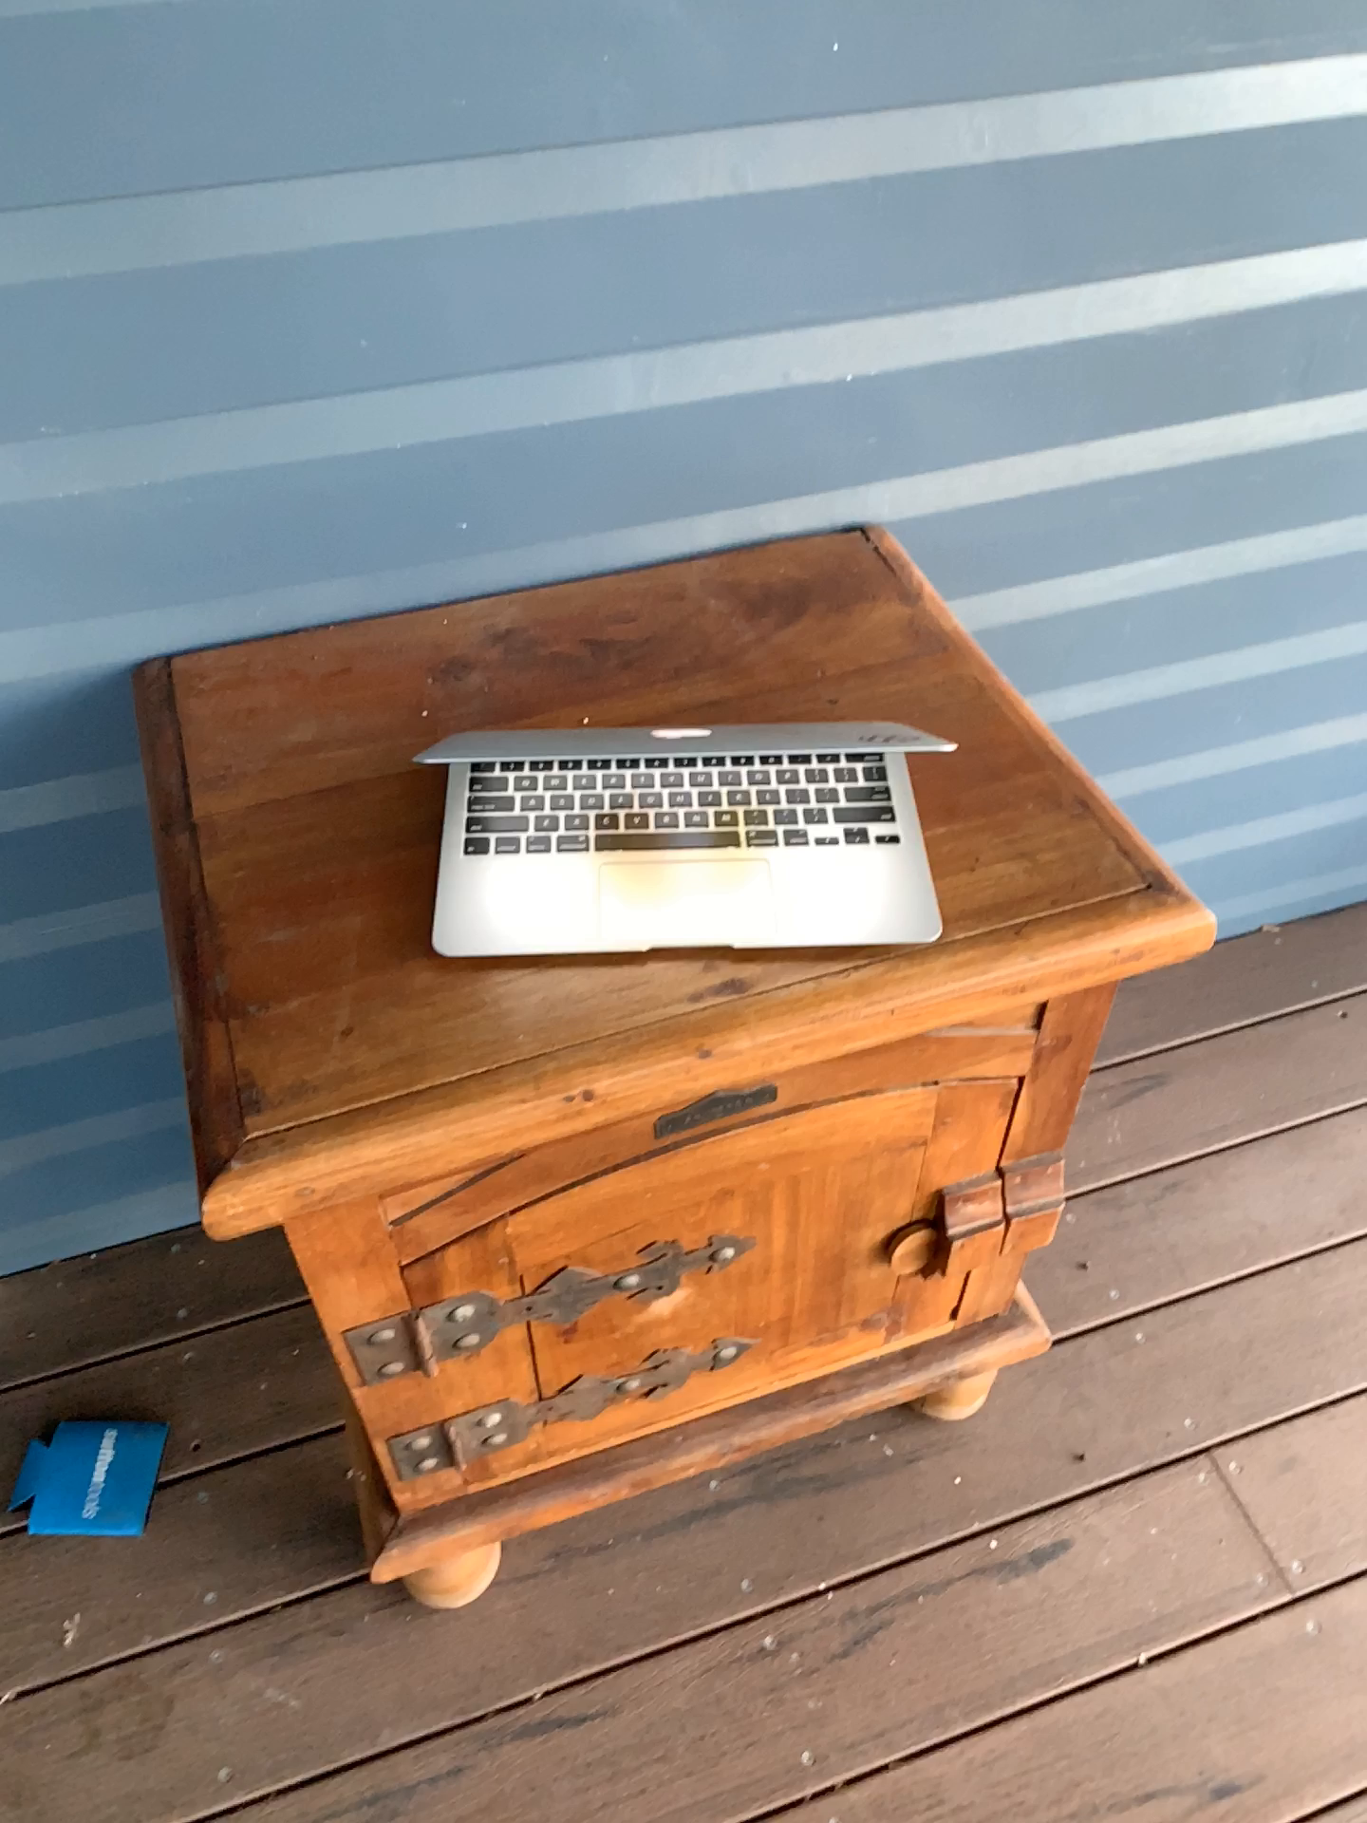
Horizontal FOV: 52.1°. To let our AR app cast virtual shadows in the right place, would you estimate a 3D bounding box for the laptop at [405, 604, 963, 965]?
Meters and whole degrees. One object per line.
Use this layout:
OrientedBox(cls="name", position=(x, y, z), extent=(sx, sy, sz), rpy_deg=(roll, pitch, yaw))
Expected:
OrientedBox(cls="laptop", position=(-0.002, -0.077, 0.802), extent=(0.282, 0.099, 0.181), rpy_deg=(-2, 47, -1))
